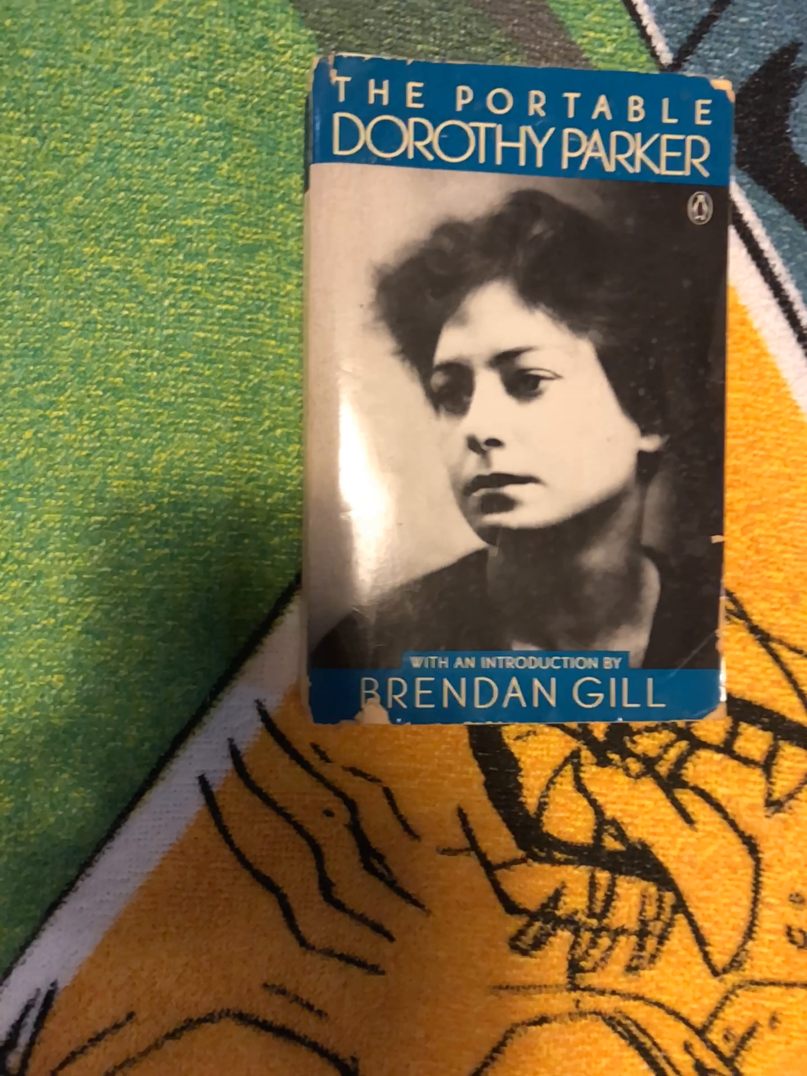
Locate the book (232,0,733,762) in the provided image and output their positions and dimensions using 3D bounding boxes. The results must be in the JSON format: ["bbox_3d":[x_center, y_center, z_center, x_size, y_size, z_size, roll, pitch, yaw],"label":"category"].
[{"bbox_3d":[0.022,-0.041,0.269,0.140,0.040,0.200,0,92,-9],"label":"book"}]
